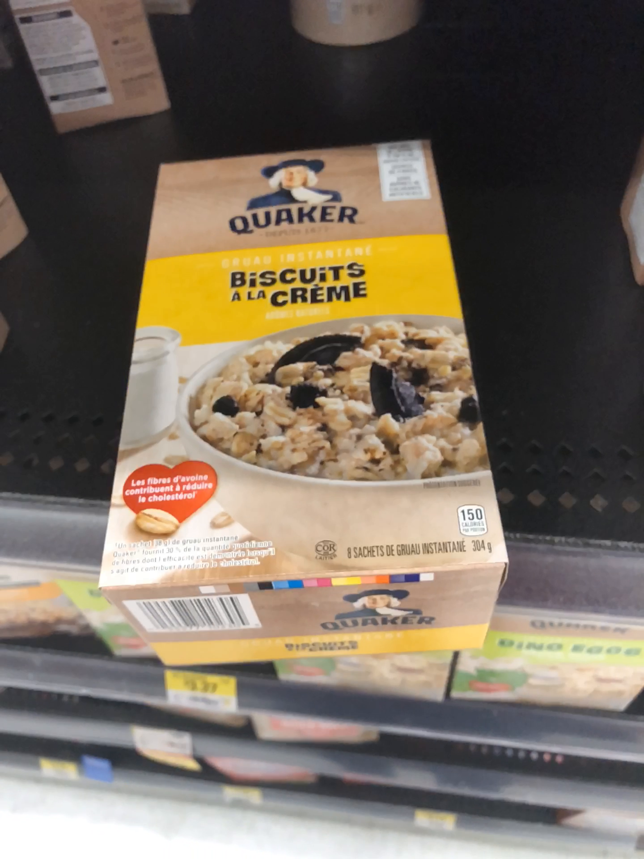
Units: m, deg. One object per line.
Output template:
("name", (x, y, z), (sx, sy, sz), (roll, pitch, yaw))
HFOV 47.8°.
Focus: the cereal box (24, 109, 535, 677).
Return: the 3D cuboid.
("cereal box", (-0.013, -0.023, 0.284), (0.140, 0.070, 0.210), (-4, 57, 3))
